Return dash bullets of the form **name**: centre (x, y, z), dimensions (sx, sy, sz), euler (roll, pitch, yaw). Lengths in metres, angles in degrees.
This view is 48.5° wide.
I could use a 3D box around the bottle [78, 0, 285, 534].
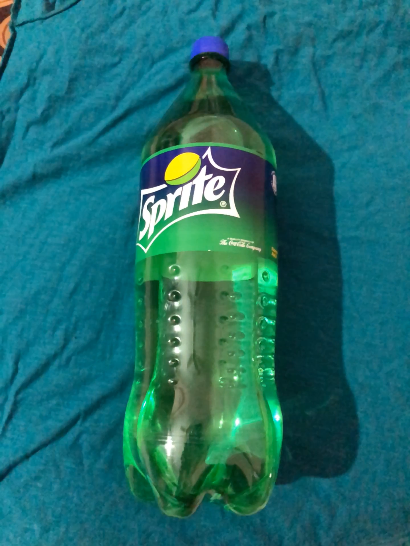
- **bottle**: centre (-0.007, -0.023, 0.306), dimensions (0.110, 0.070, 0.330), euler (-2, 79, 13)
